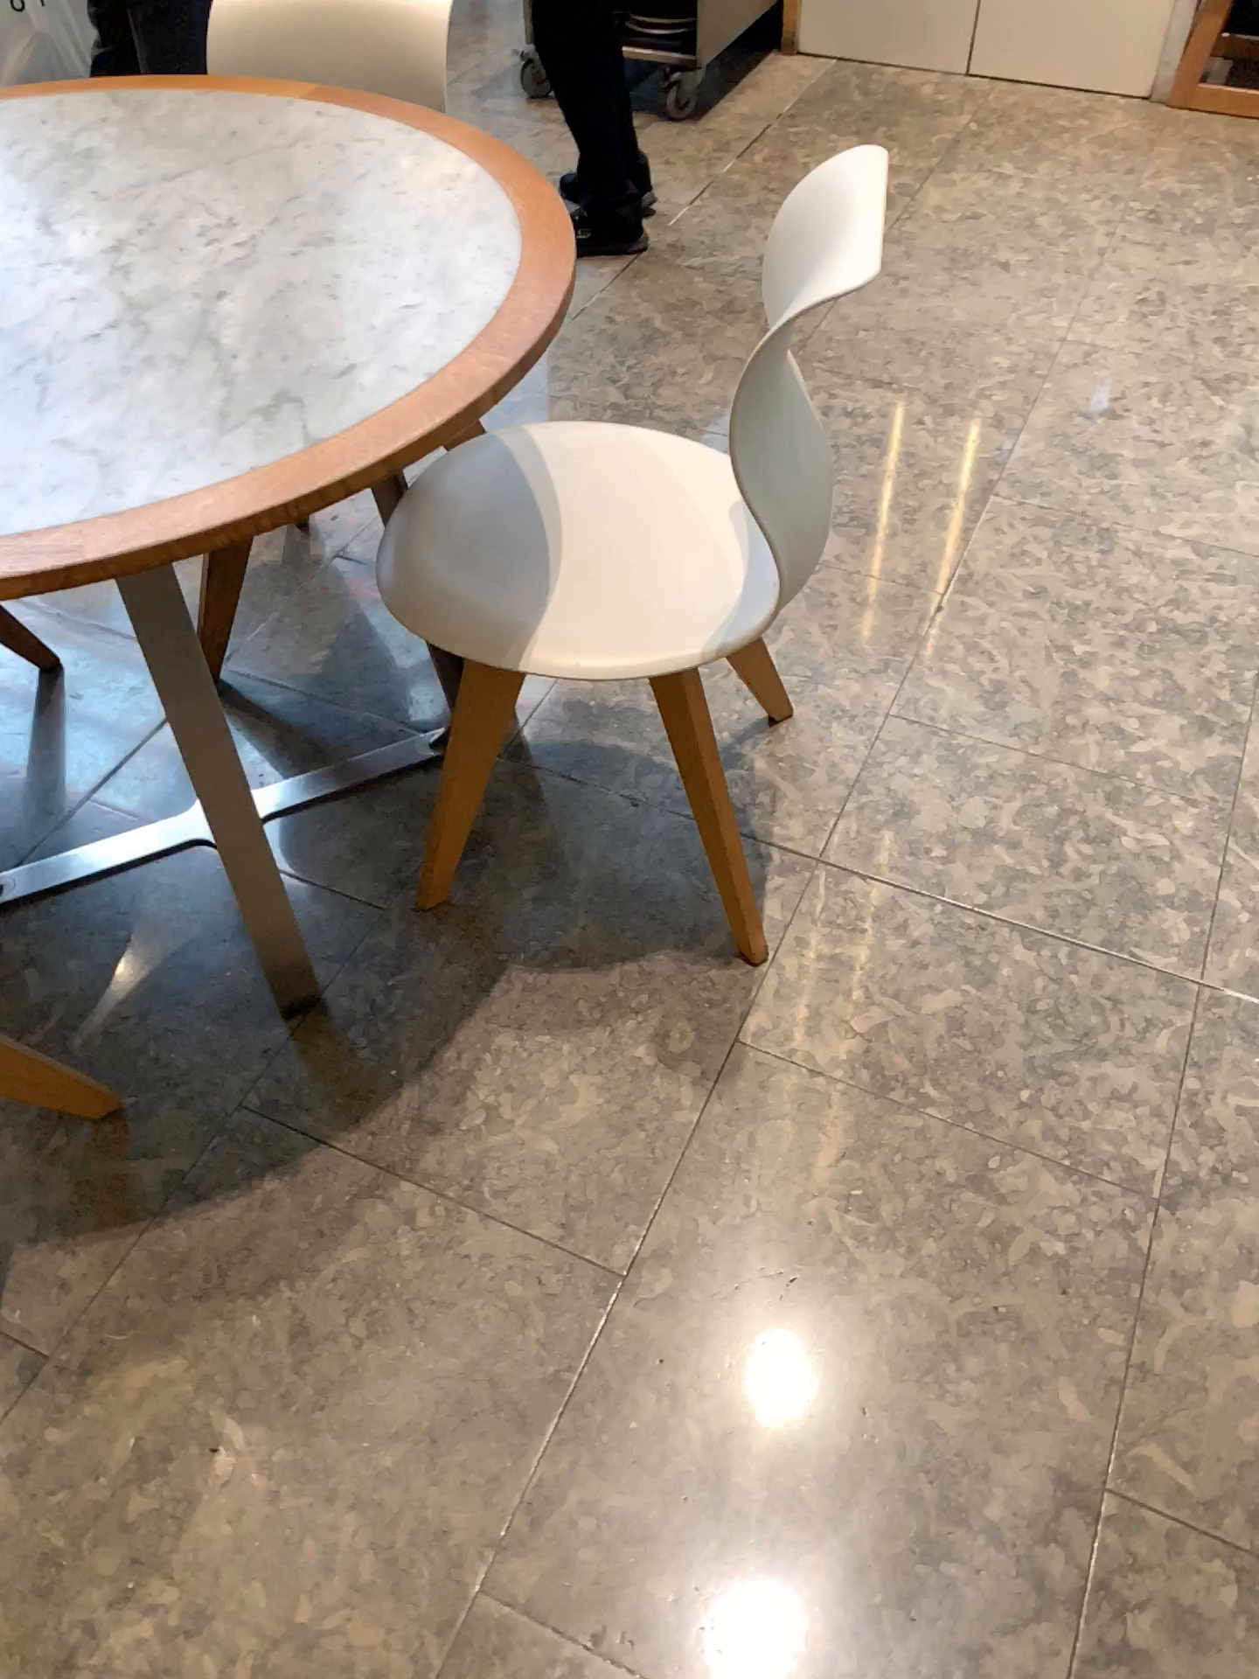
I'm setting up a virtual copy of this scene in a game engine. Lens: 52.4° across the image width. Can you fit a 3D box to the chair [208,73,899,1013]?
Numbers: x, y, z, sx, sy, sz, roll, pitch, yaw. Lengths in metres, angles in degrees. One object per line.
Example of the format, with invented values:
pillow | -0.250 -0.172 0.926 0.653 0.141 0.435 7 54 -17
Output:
chair | -0.028 -0.299 1.509 0.540 0.911 0.505 7 48 7
